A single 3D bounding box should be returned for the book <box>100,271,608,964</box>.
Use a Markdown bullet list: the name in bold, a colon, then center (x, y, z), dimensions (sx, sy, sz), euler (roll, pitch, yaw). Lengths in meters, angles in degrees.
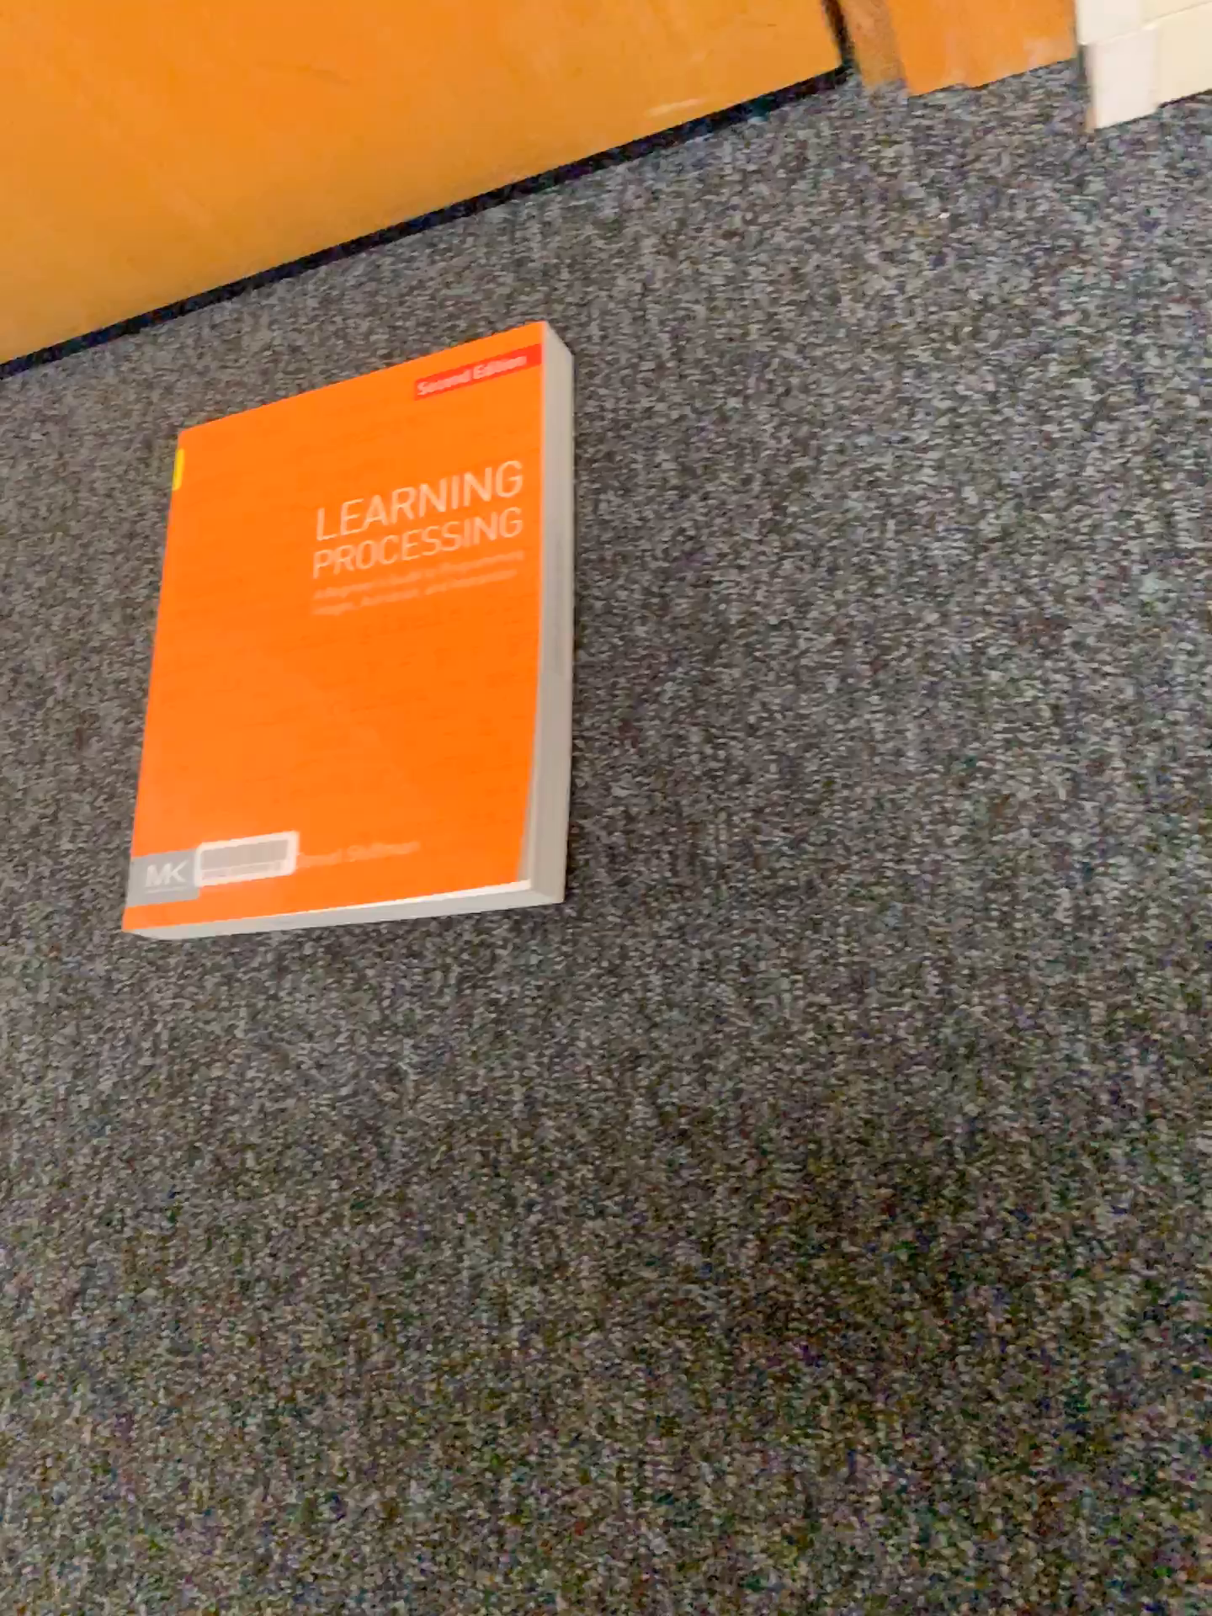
- **book**: center (-0.103, -0.074, 0.520), dimensions (0.210, 0.040, 0.261), euler (-7, 72, 23)
